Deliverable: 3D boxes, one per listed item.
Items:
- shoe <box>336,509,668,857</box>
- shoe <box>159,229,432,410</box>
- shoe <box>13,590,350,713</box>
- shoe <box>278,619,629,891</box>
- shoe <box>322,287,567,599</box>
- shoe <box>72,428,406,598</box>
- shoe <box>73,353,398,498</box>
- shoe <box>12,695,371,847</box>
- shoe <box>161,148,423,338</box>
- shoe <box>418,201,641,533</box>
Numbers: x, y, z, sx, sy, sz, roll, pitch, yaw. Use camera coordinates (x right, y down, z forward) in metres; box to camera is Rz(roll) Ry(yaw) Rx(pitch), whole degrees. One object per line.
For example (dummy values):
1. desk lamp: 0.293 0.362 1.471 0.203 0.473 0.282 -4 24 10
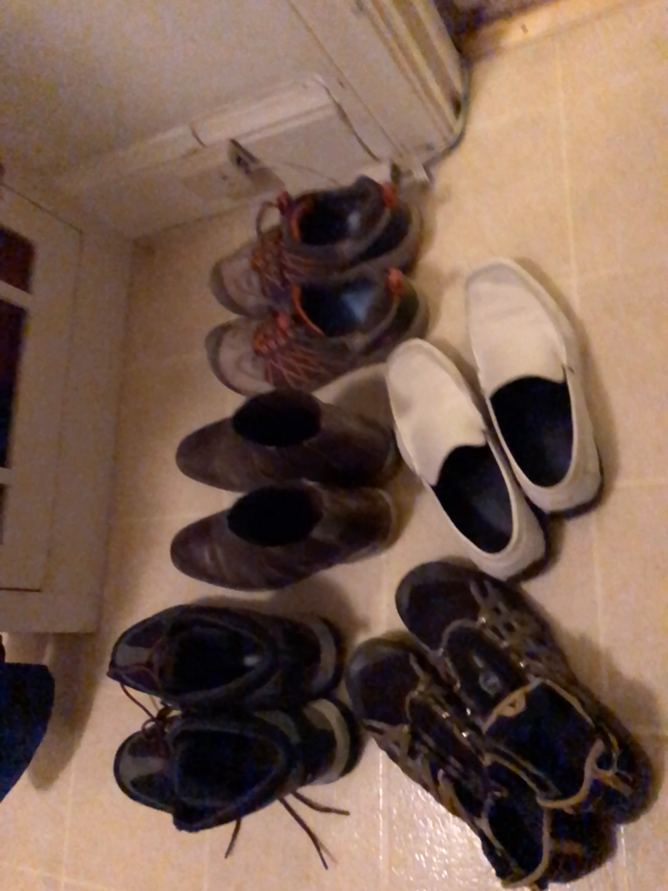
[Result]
1. shoe: 0.155 0.208 0.697 0.110 0.123 0.294 -50 59 9
2. shoe: -0.053 -0.140 0.889 0.313 0.113 0.110 -11 71 27
3. shoe: -0.170 0.234 0.836 0.323 0.193 0.110 -9 72 28
4. shoe: 0.107 0.299 0.696 0.294 0.123 0.110 33 94 32
5. shoe: 0.112 -0.003 0.781 0.110 0.113 0.304 -33 63 19
6. shoe: -0.110 0.093 0.843 0.323 0.193 0.110 -14 70 26
7. shoe: -0.114 -0.009 0.872 0.324 0.193 0.110 -3 75 29
8. shoe: -0.153 0.347 0.787 0.323 0.193 0.110 -16 69 26
9. shoe: -0.059 -0.243 0.927 0.313 0.113 0.110 -11 71 27
10. shoe: 0.197 -0.078 0.755 0.110 0.113 0.304 -23 66 23
